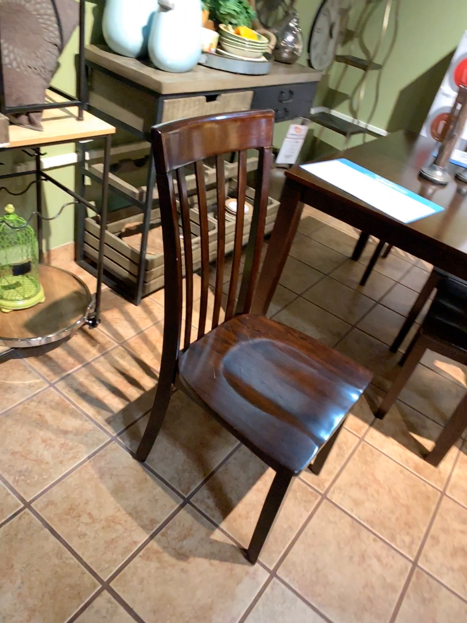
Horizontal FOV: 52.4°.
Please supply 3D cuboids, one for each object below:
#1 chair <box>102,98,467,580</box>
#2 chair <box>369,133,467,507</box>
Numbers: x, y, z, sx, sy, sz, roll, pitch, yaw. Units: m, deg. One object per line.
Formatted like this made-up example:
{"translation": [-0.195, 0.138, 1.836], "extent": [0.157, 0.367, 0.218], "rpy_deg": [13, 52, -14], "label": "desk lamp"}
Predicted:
{"translation": [0.073, 0.070, 1.181], "extent": [0.585, 0.936, 0.463], "rpy_deg": [32, 40, 22], "label": "chair"}
{"translation": [0.942, 0.036, 1.525], "extent": [0.575, 0.946, 0.463], "rpy_deg": [28, 38, 17], "label": "chair"}
